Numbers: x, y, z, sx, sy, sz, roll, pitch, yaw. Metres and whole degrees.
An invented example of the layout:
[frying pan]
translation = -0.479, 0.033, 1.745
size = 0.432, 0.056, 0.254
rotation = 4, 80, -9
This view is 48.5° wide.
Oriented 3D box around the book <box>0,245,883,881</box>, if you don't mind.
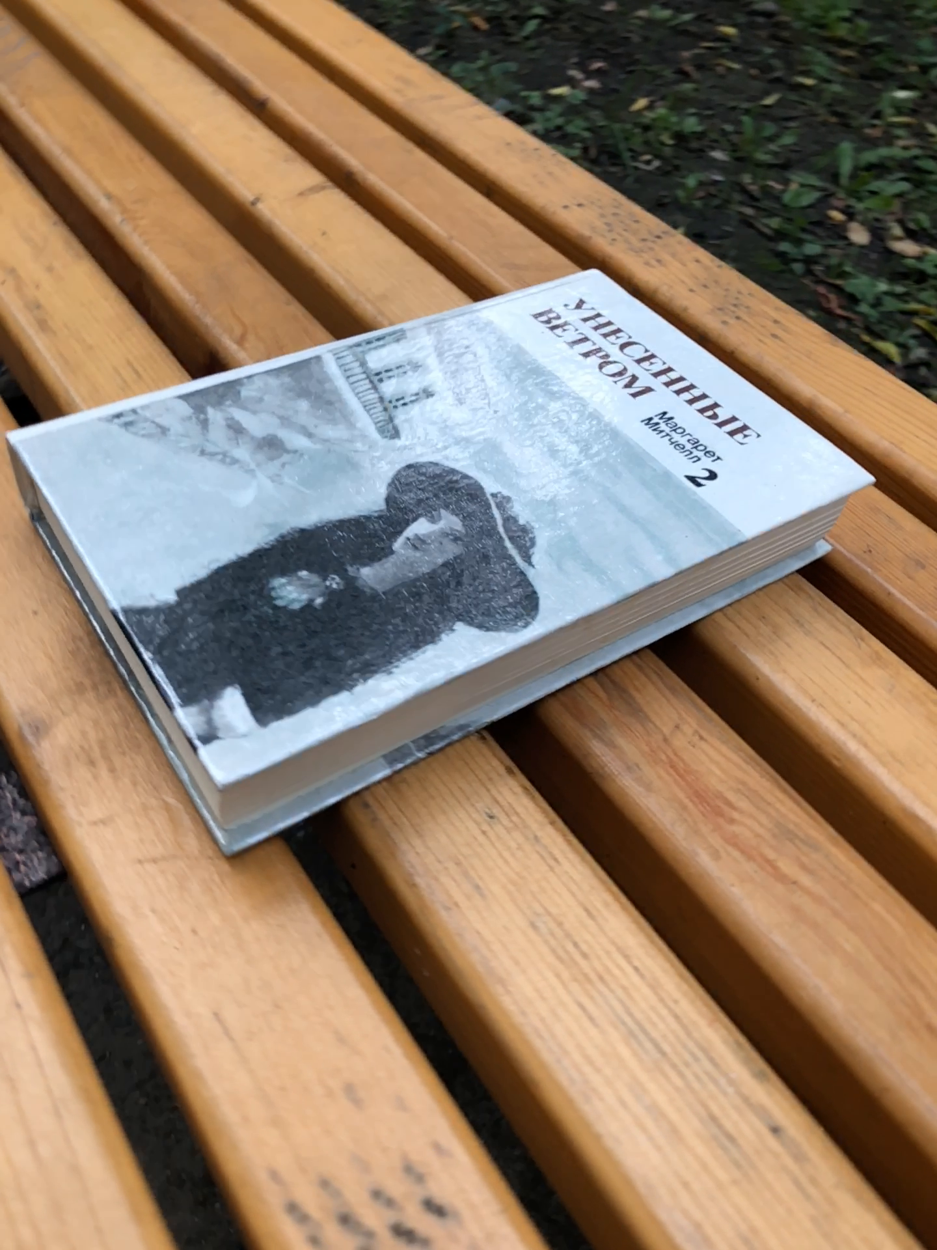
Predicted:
[book]
translation = -0.011, -0.039, 0.295
size = 0.210, 0.030, 0.140
rotation = -24, 55, -25
